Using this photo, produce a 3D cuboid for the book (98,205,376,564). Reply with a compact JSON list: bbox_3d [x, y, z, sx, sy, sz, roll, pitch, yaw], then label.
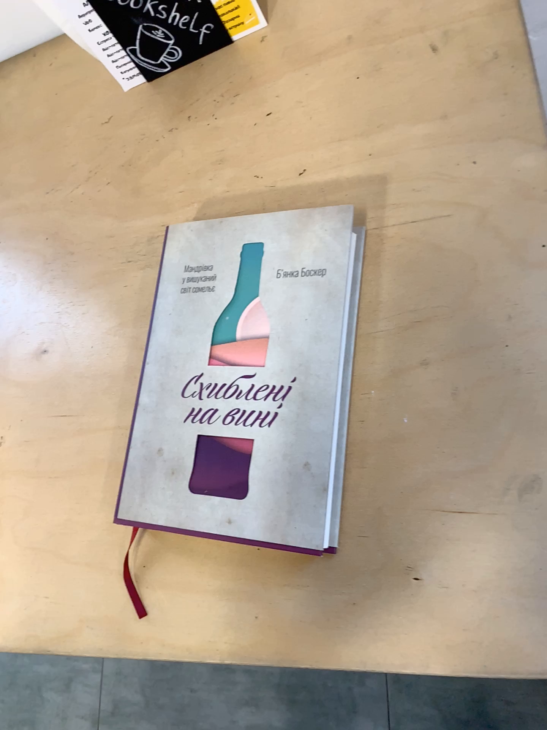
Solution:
[{"bbox_3d":[-0.020,0.008,0.376,0.150,0.050,0.214,1,74,24],"label":"book"}]
